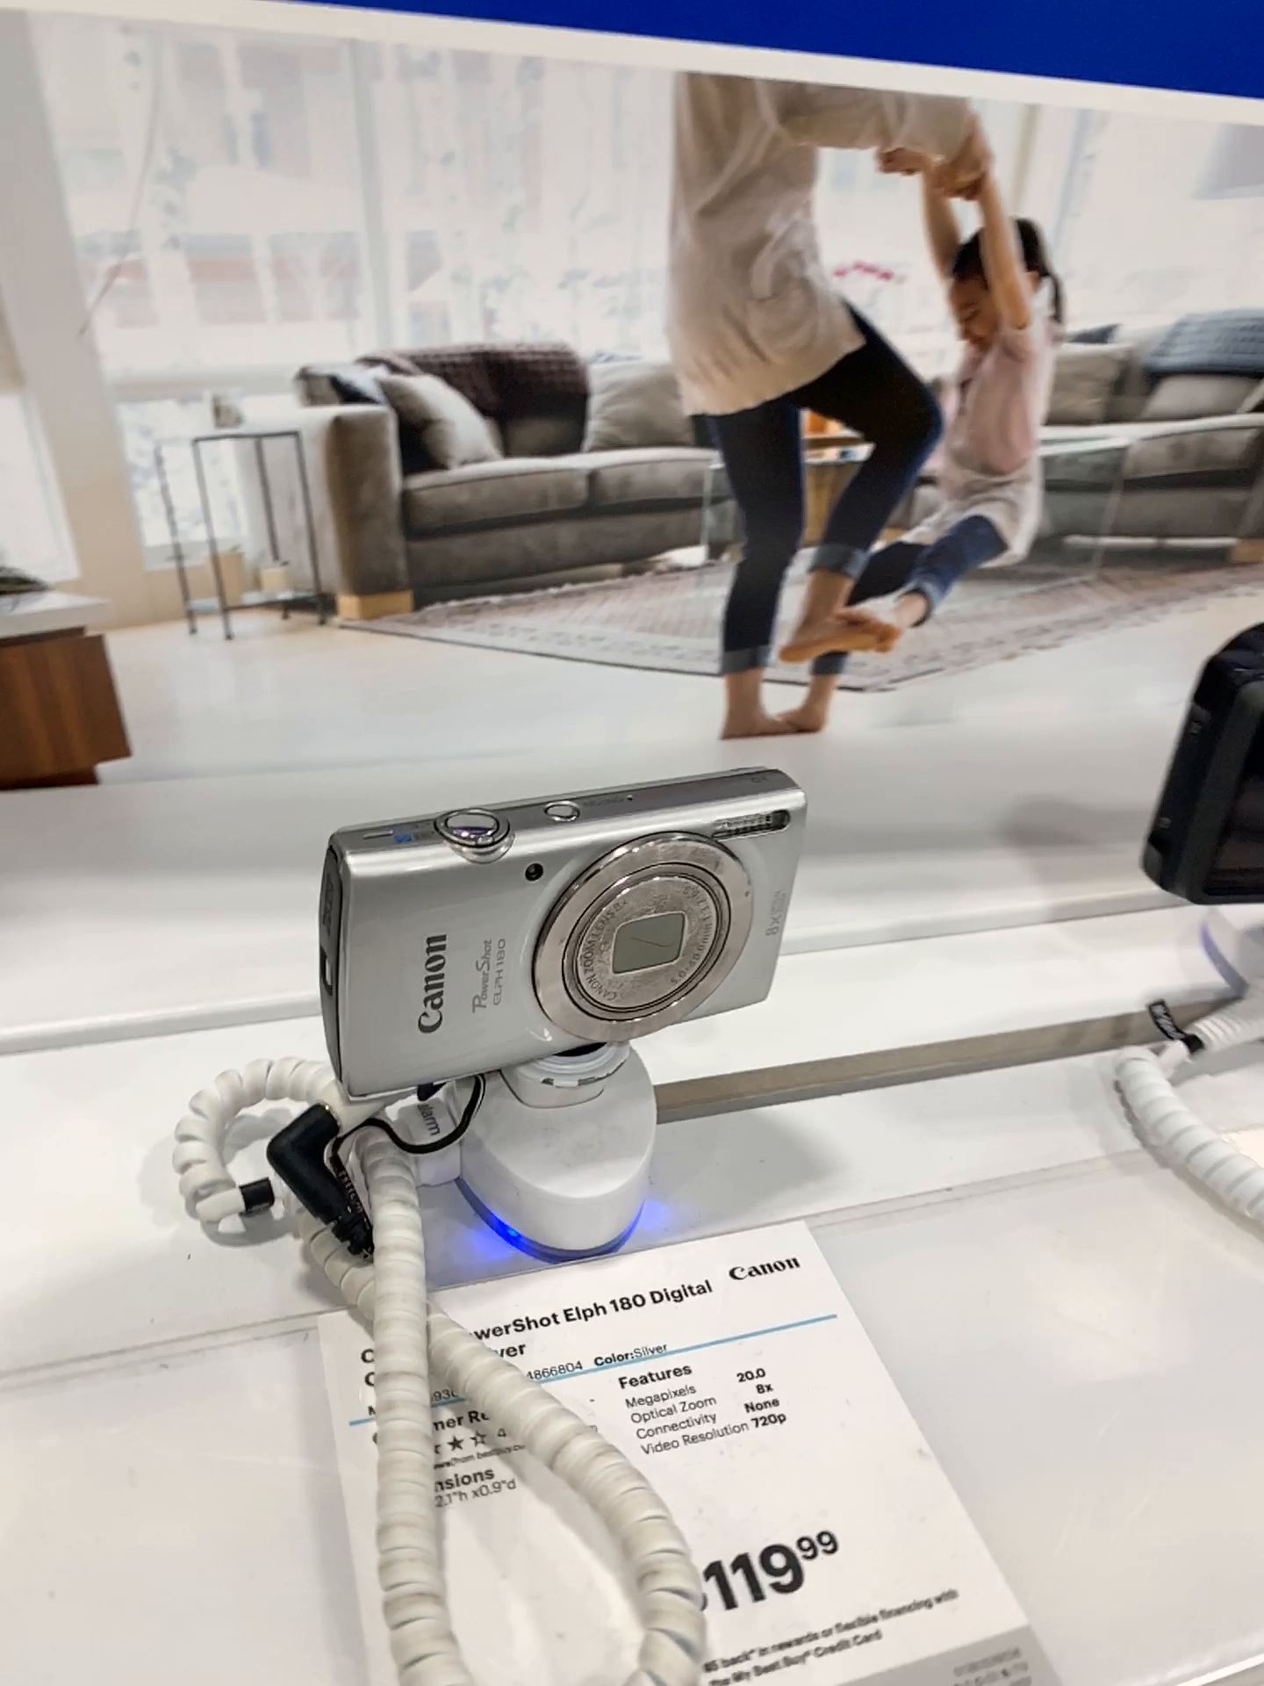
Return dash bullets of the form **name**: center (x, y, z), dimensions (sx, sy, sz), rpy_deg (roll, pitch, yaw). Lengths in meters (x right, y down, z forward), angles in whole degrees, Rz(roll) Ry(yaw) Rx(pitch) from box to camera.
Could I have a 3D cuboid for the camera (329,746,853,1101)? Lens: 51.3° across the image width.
- **camera**: center (-0.008, 0.014, 0.261), dimensions (0.098, 0.051, 0.022), rpy_deg (-10, 39, -25)
